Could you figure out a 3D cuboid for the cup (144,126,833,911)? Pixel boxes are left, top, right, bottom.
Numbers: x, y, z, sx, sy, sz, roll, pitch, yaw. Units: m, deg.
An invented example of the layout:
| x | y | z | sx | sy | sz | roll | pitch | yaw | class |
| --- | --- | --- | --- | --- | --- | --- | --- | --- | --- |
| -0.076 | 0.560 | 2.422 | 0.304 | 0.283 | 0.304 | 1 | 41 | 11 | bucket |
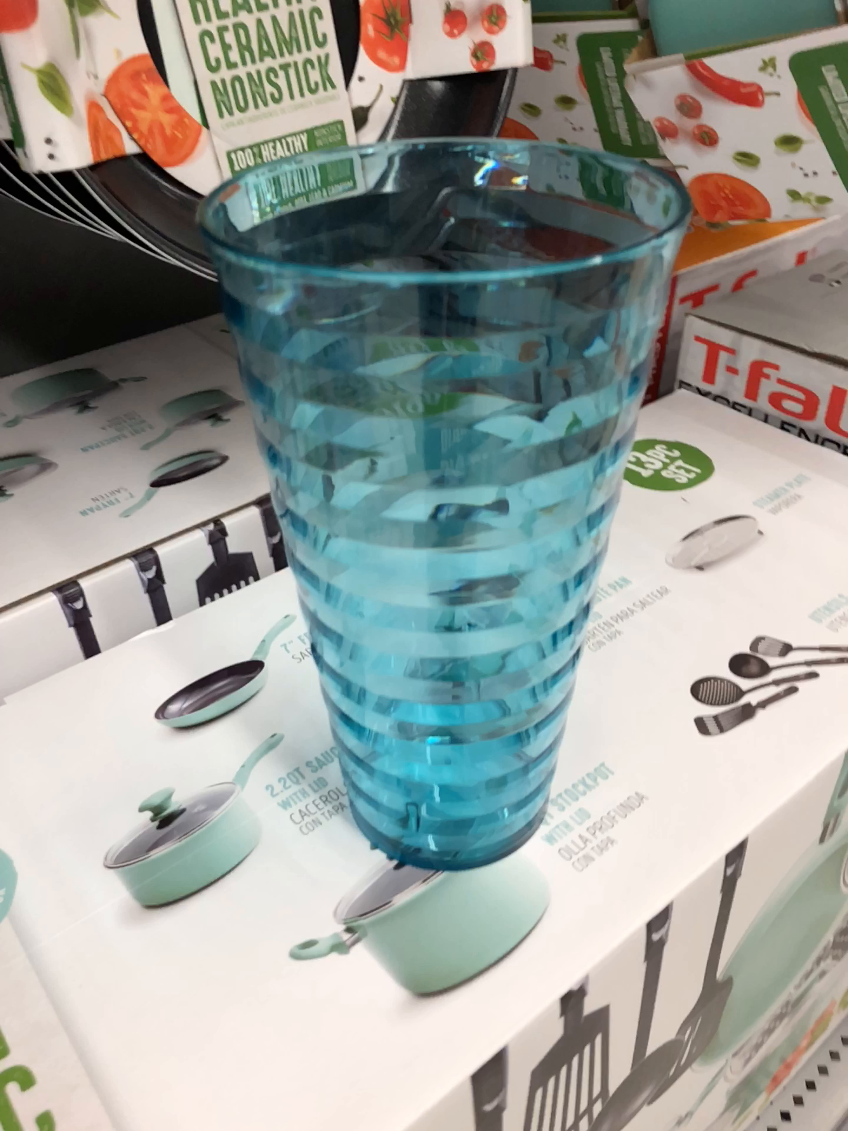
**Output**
| x | y | z | sx | sy | sz | roll | pitch | yaw | class |
| --- | --- | --- | --- | --- | --- | --- | --- | --- | --- |
| 0.005 | -0.012 | 0.227 | 0.104 | 0.151 | 0.104 | 0 | 37 | 0 | cup |
